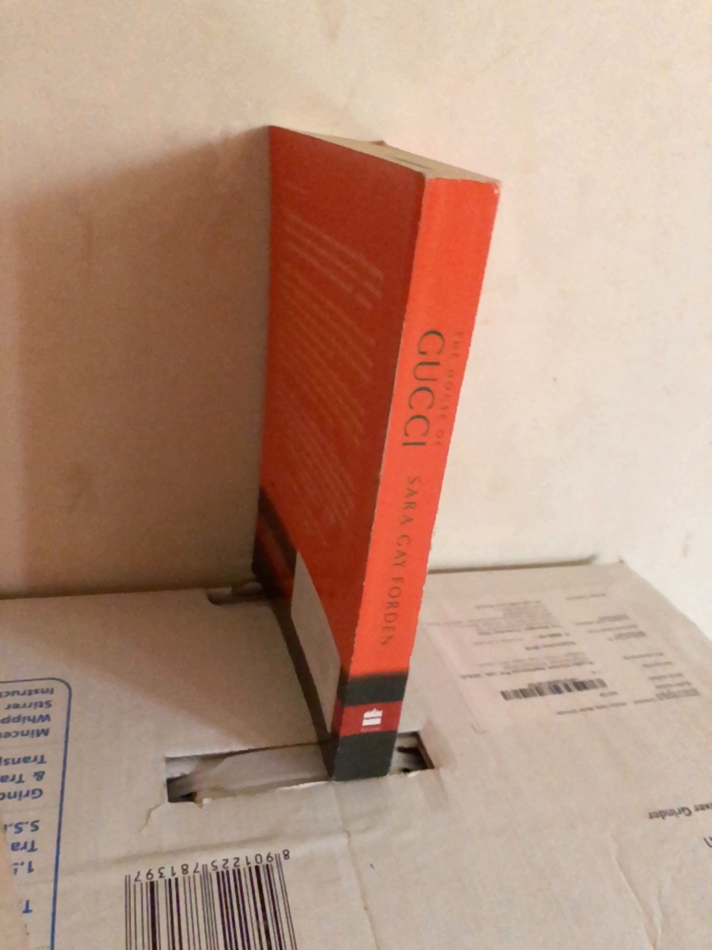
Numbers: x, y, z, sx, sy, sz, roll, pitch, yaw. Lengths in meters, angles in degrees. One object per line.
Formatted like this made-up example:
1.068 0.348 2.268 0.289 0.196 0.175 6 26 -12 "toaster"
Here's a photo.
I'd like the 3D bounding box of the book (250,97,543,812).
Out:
-0.007 -0.021 0.329 0.040 0.229 0.191 2 28 -14 "book"
